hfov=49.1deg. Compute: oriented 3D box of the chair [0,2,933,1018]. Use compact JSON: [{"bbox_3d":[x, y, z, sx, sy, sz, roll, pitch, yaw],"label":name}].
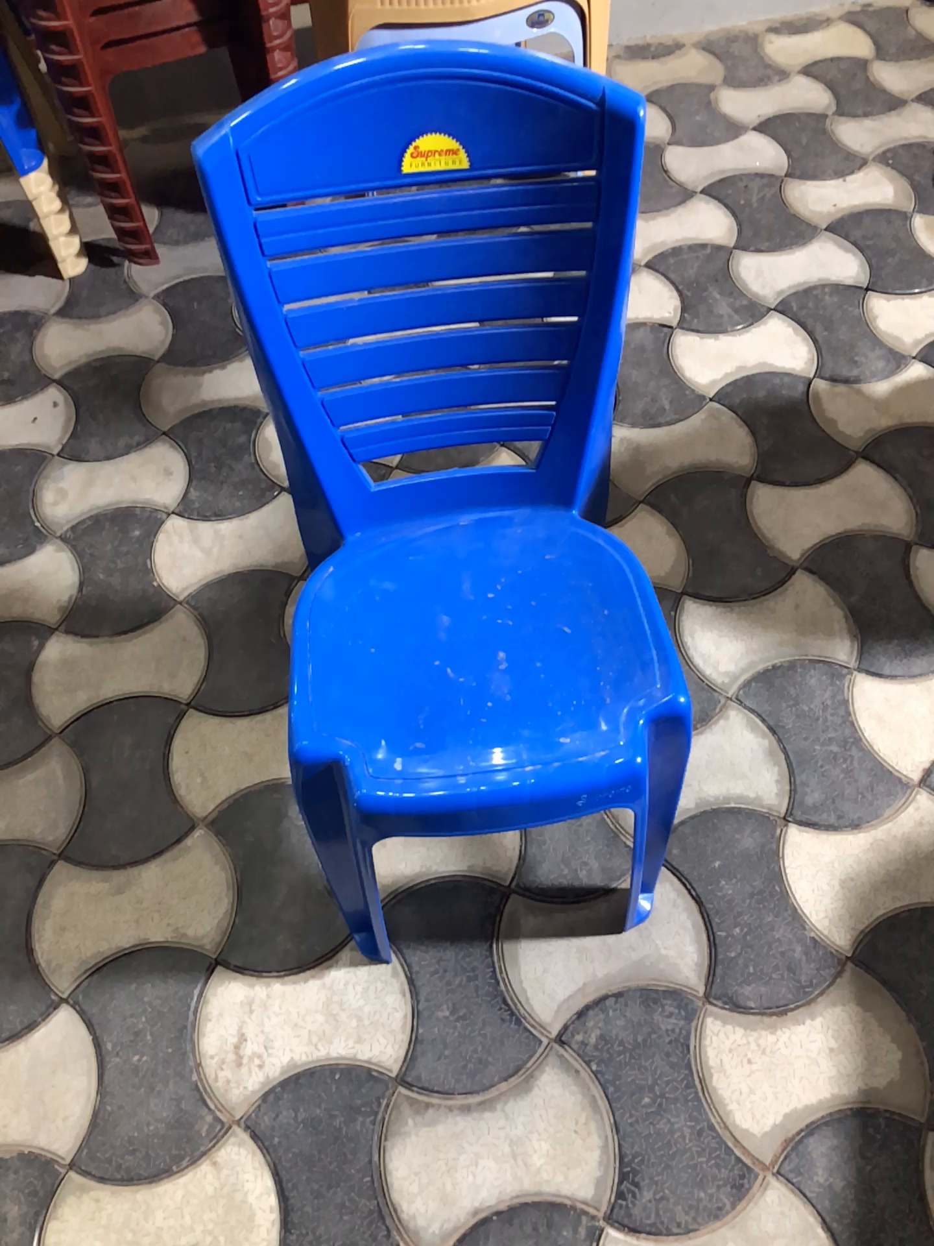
[{"bbox_3d":[-0.010,-0.036,0.928,0.470,0.726,0.513,-7,53,-1],"label":"chair"}]
